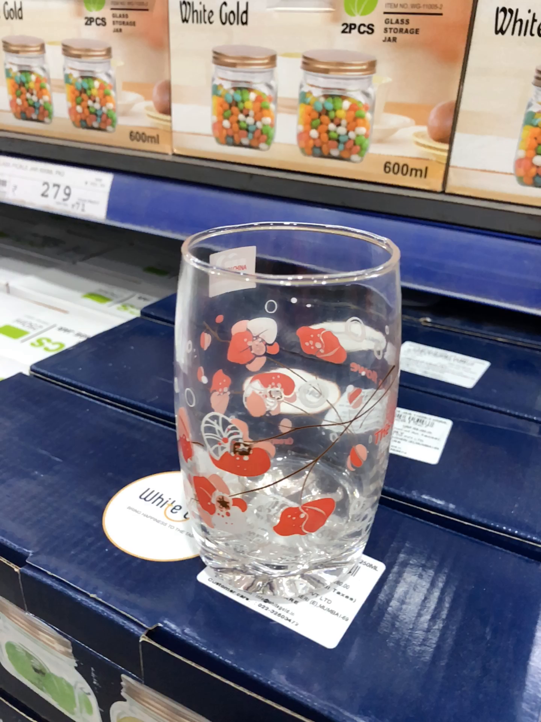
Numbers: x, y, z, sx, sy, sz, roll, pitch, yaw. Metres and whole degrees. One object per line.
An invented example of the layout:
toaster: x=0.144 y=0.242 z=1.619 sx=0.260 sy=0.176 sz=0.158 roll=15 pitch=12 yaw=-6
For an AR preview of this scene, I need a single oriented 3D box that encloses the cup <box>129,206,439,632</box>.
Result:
cup: x=0.007 y=0.013 z=0.191 sx=0.070 sy=0.100 sz=0.070 roll=2 pitch=27 yaw=-1
